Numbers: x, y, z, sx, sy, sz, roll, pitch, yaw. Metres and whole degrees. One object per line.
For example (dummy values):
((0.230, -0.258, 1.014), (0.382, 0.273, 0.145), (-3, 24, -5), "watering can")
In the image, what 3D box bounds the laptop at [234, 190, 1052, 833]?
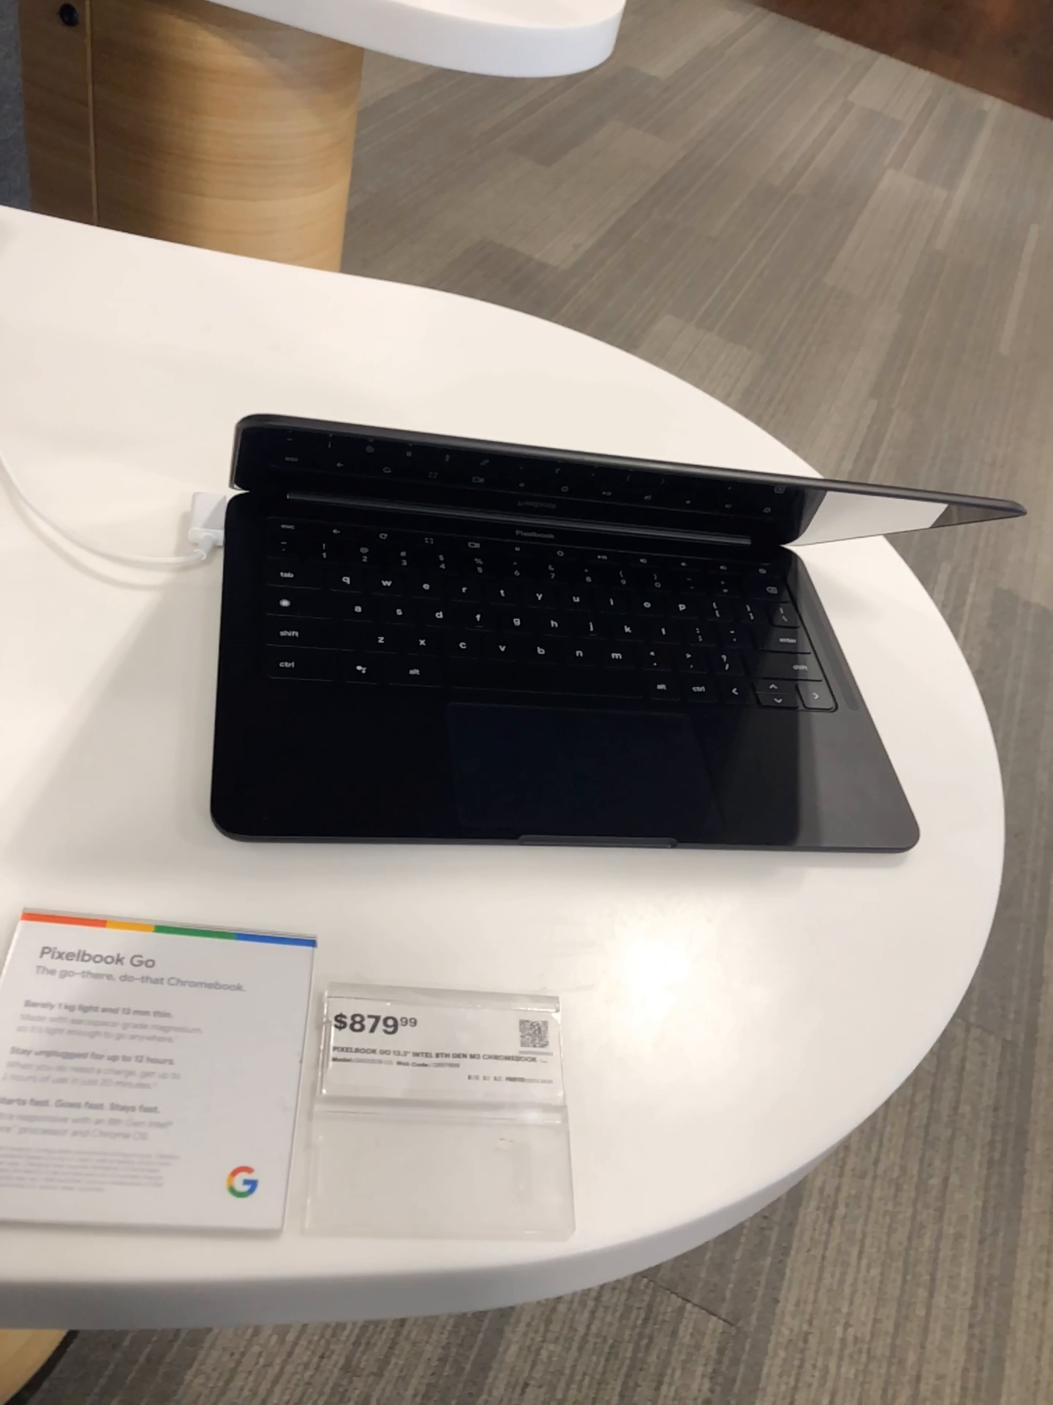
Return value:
((0.030, -0.069, 0.473), (0.278, 0.147, 0.192), (3, 47, -18), "laptop")
